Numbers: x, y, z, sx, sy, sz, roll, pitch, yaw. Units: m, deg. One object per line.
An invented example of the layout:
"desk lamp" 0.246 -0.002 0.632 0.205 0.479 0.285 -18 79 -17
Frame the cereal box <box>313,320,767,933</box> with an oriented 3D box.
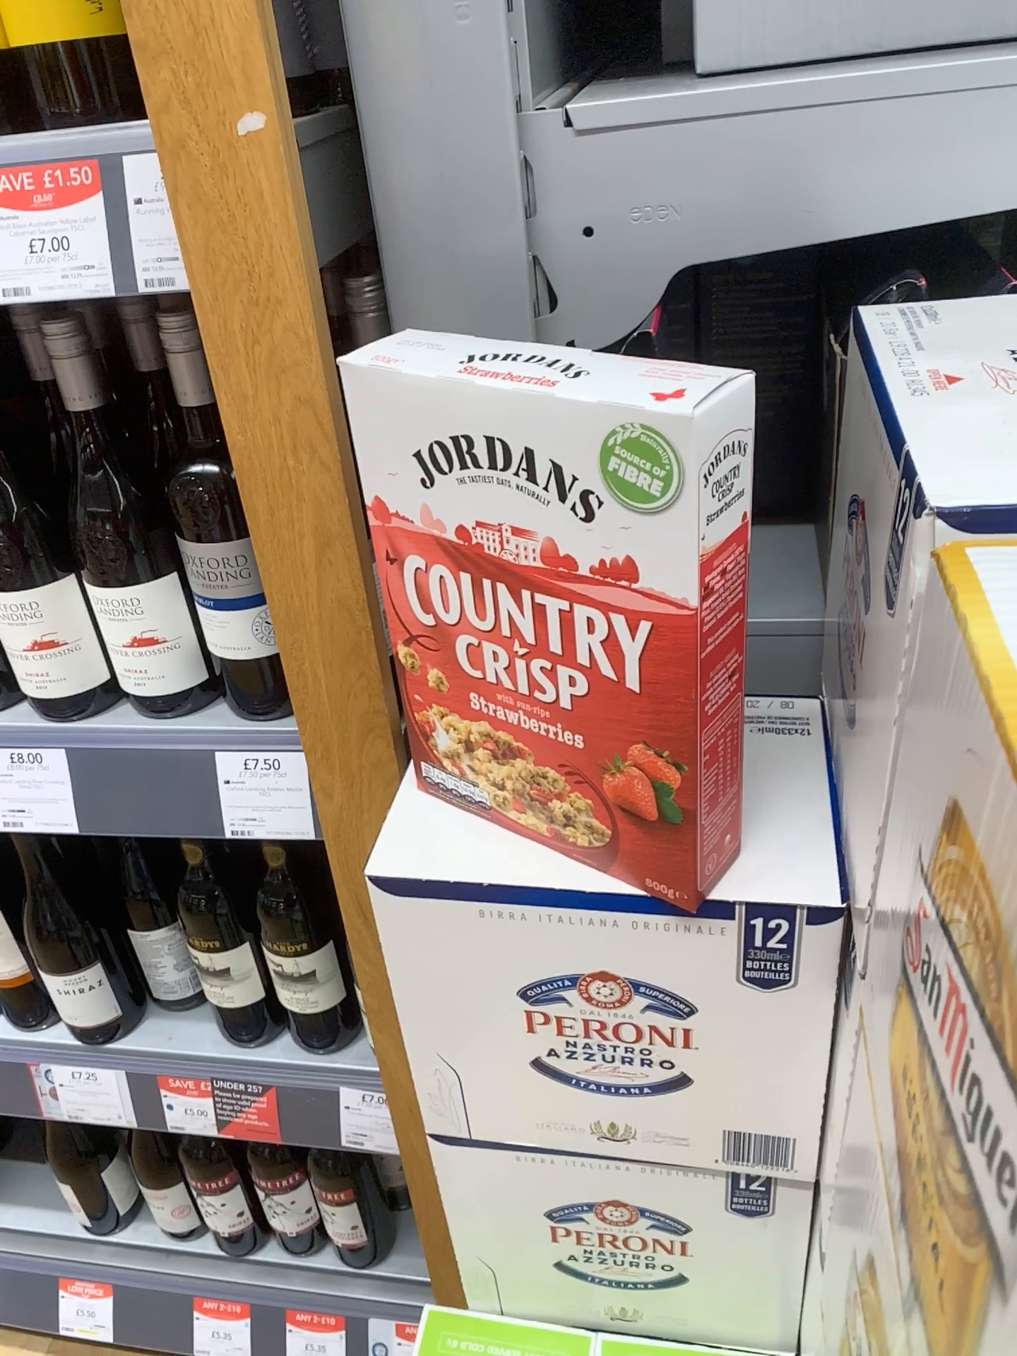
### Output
"cereal box" 0.017 -0.025 0.482 0.191 0.248 0.050 19 41 34
